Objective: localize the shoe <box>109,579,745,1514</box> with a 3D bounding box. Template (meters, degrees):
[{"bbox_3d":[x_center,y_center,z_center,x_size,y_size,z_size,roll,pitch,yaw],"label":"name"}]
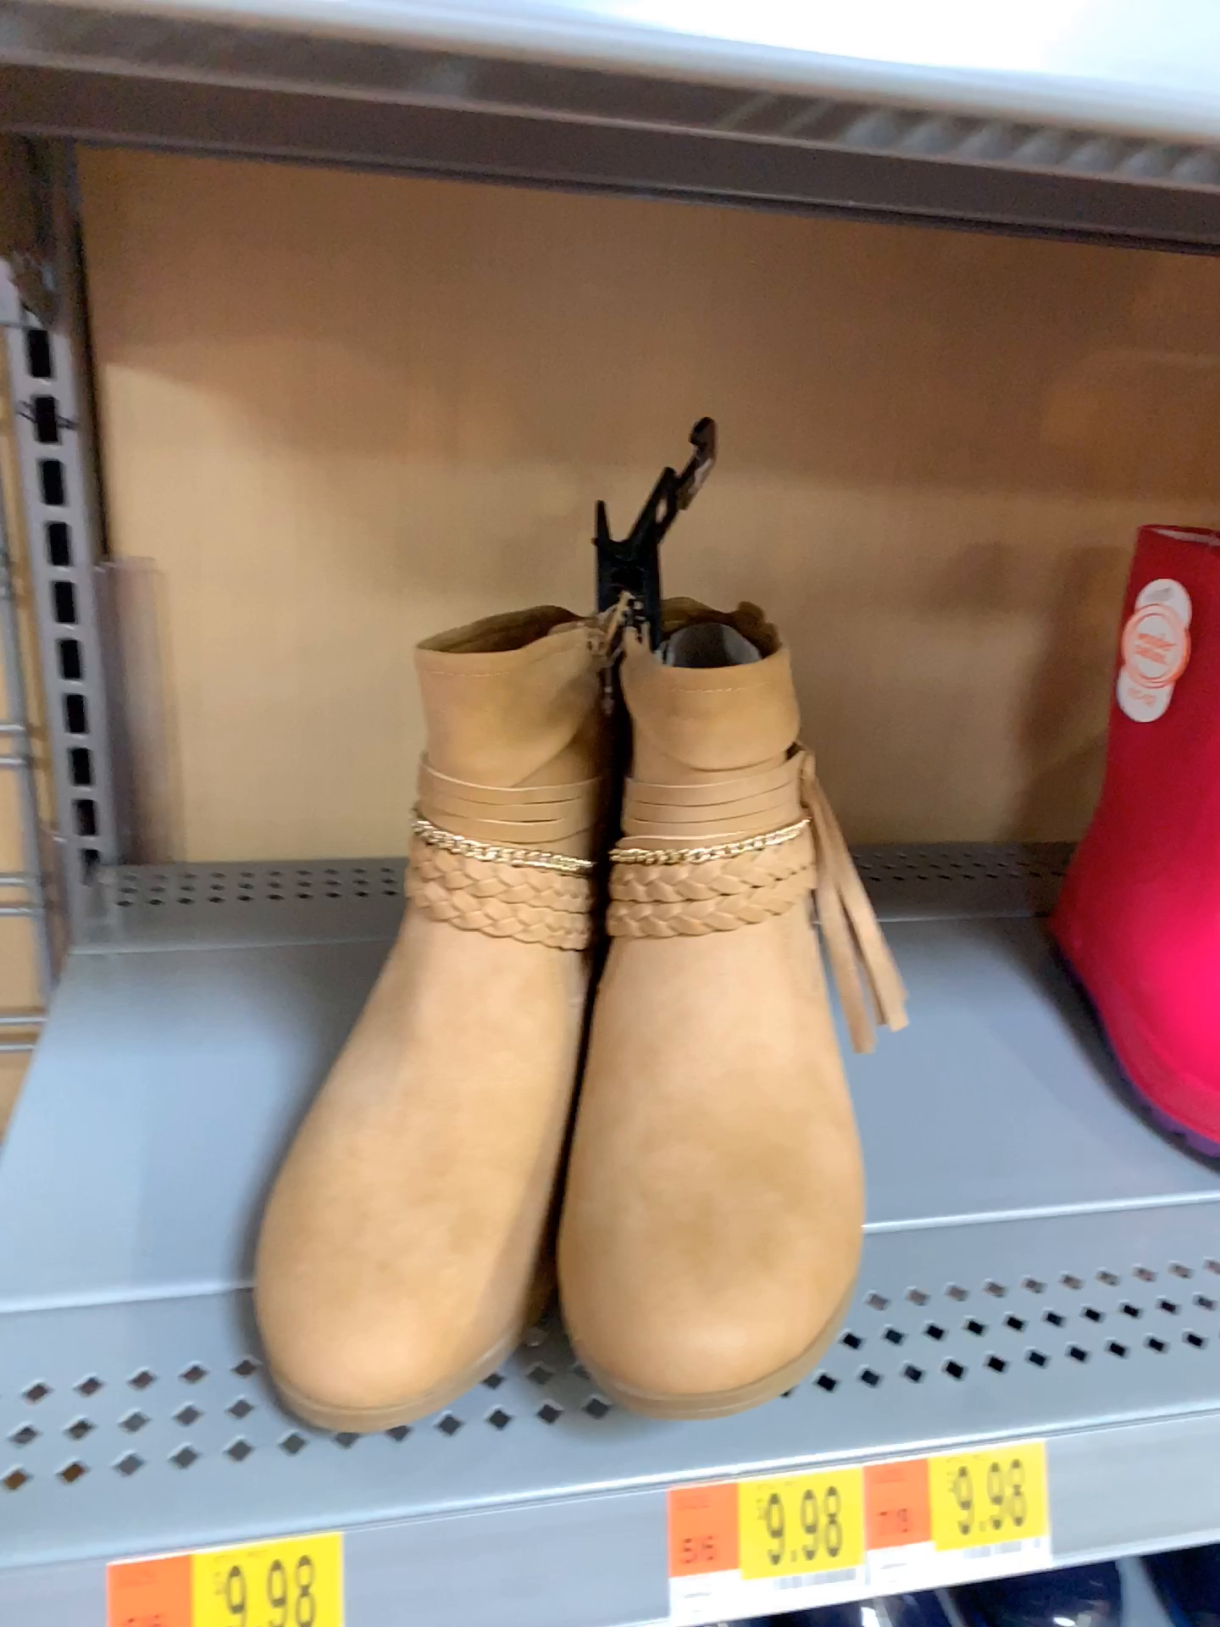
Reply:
[{"bbox_3d":[-0.033,0.040,0.366,0.088,0.162,0.218,10,24,13],"label":"shoe"}]

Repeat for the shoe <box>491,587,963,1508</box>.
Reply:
[{"bbox_3d":[0.029,0.041,0.375,0.083,0.154,0.239,6,24,3],"label":"shoe"}]
